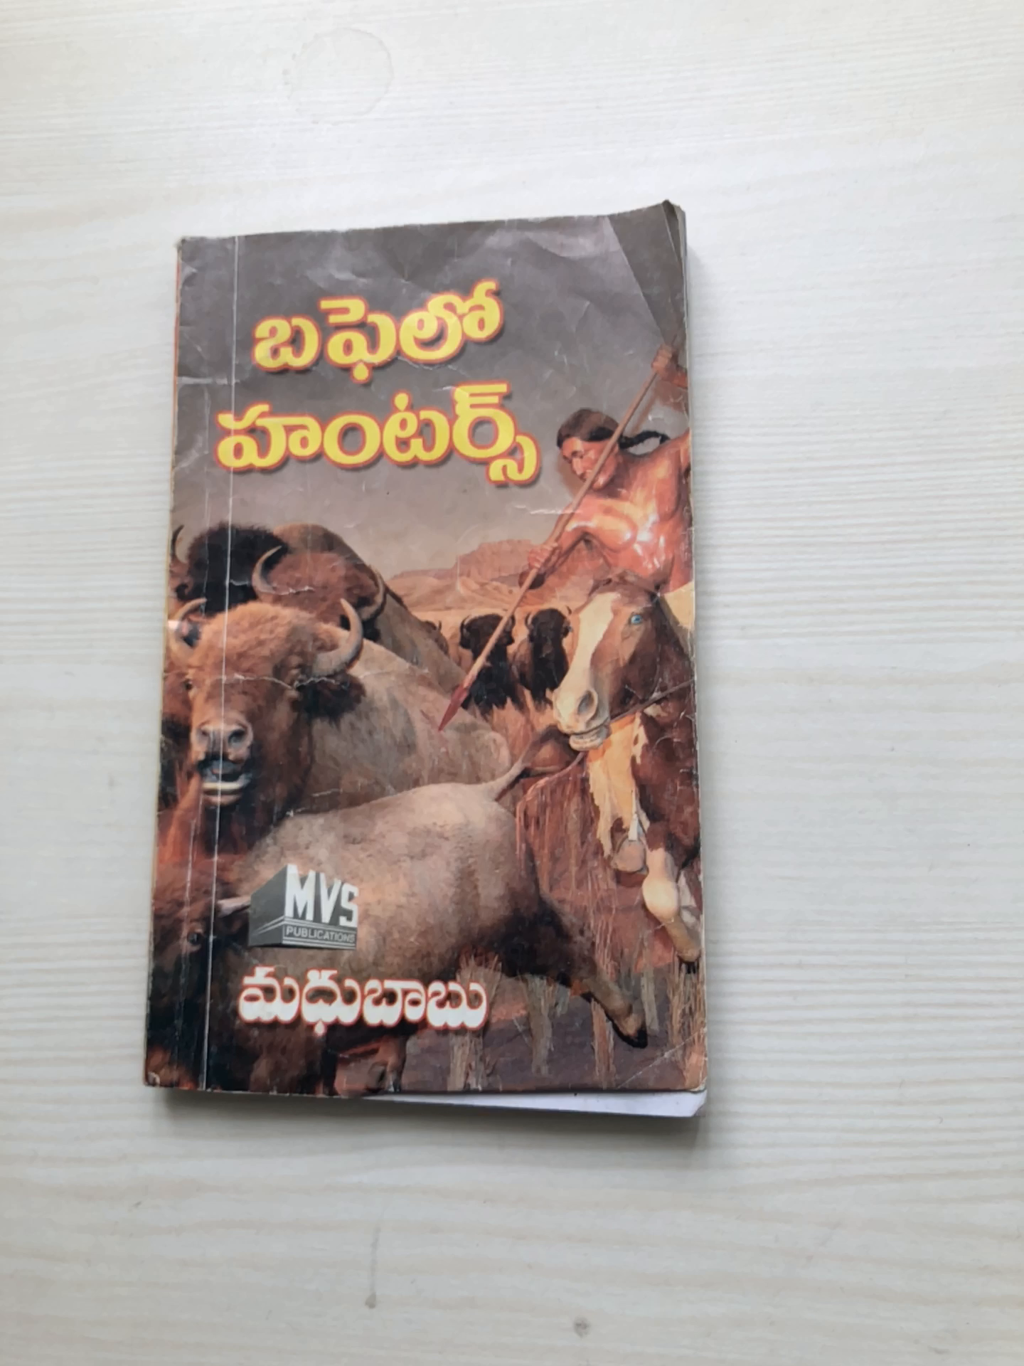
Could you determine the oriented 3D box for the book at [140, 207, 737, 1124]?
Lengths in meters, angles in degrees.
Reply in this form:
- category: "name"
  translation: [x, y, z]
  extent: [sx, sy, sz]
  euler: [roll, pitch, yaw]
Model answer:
- category: "book"
  translation: [-0.013, -0.003, 0.204]
  extent: [0.100, 0.020, 0.150]
  euler: [-1, 86, 7]
